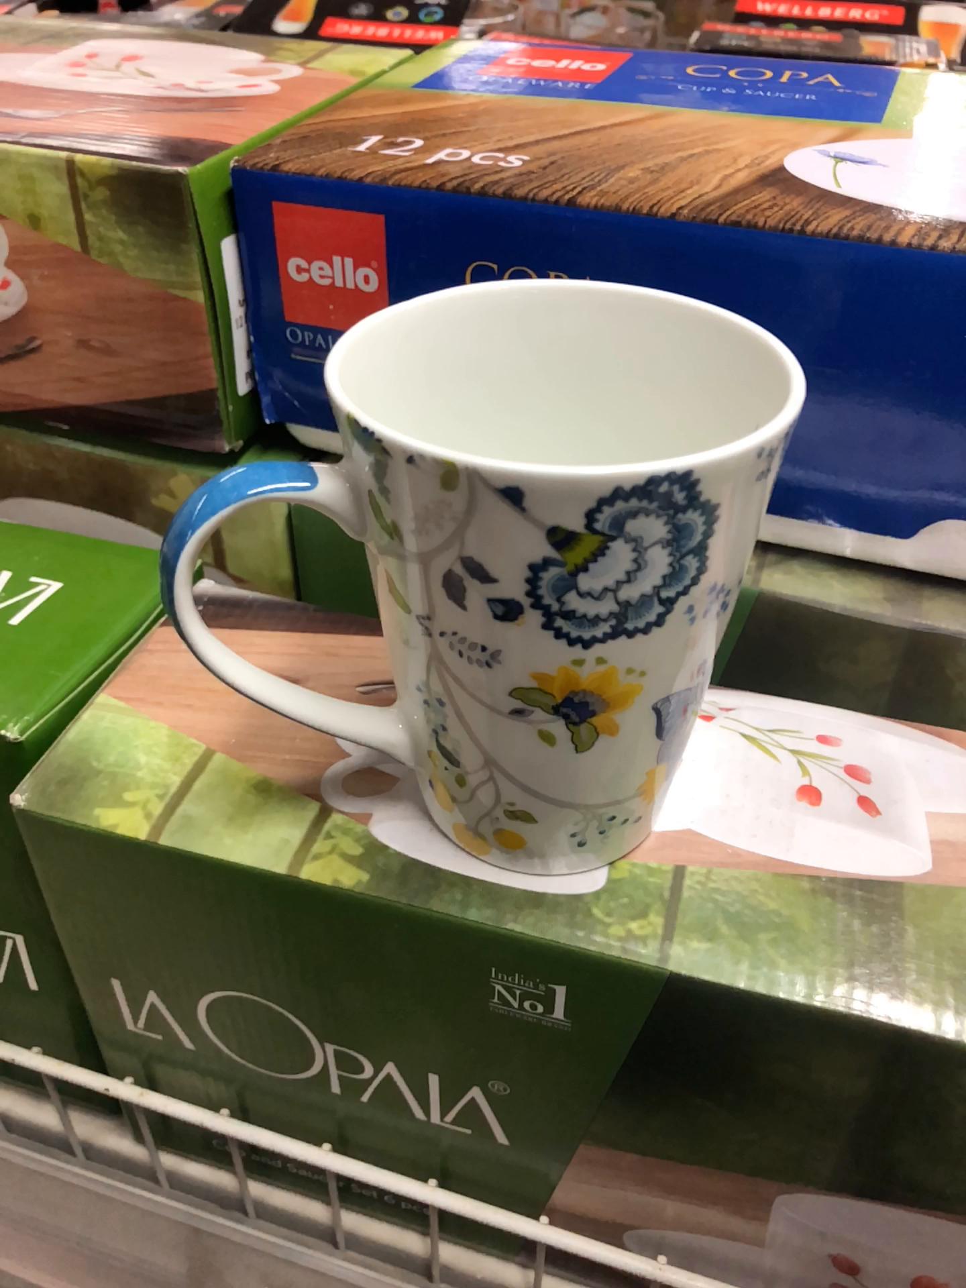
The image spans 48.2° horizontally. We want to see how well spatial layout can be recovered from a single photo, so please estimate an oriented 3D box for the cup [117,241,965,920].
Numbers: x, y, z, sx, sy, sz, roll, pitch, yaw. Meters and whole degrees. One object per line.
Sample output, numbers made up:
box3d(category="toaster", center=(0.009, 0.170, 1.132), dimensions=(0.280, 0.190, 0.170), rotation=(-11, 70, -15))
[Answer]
box3d(category="cup", center=(0.007, -0.013, 0.184), dimensions=(0.110, 0.079, 0.070), rotation=(-6, 41, -7))
